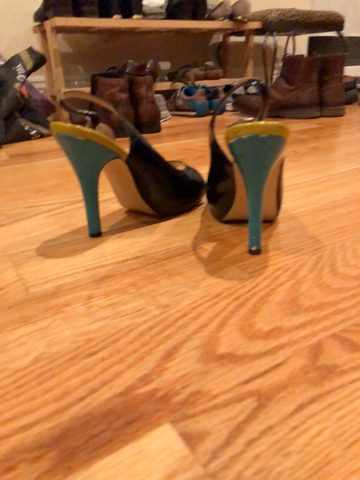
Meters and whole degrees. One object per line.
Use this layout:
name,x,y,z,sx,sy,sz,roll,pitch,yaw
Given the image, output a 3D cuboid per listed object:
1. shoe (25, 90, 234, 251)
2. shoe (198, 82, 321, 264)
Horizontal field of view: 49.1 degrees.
shoe,-0.038,-0.089,0.422,0.085,0.121,0.204,18,31,40
shoe,0.064,-0.081,0.393,0.085,0.131,0.202,-1,23,4
